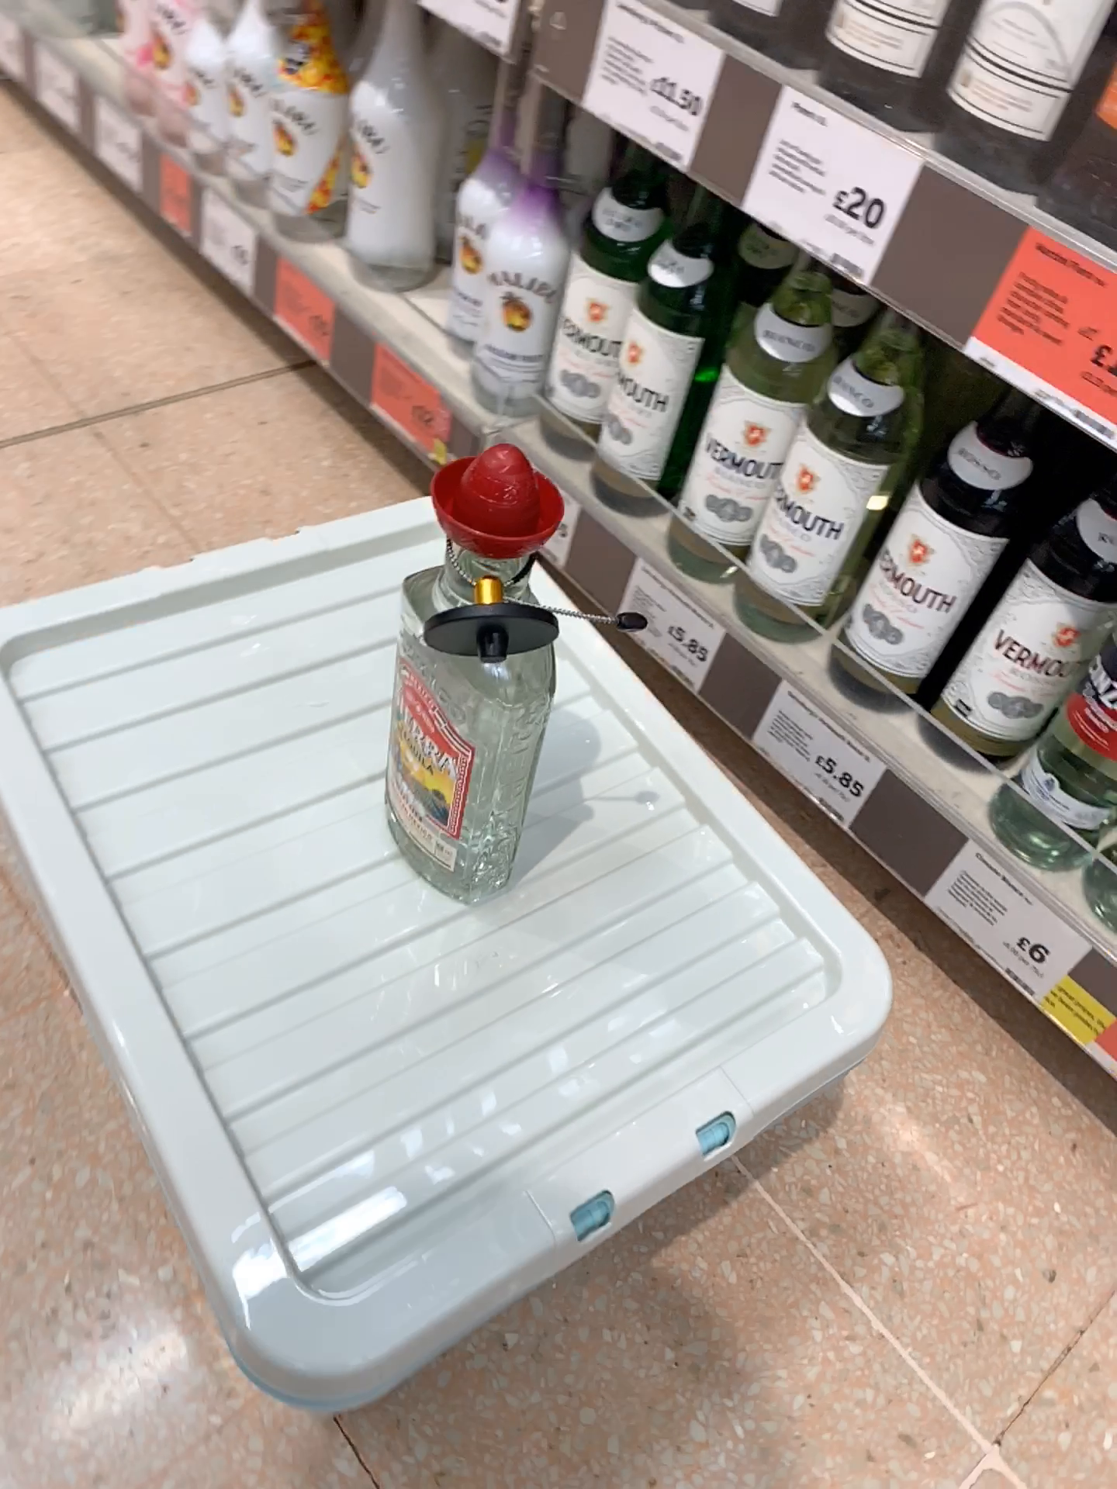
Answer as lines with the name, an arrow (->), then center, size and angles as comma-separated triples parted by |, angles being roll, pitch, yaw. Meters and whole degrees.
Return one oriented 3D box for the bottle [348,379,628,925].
bottle -> -0.045, -0.031, 0.532 | 0.058, 0.240, 0.103 | -20, 56, -27
